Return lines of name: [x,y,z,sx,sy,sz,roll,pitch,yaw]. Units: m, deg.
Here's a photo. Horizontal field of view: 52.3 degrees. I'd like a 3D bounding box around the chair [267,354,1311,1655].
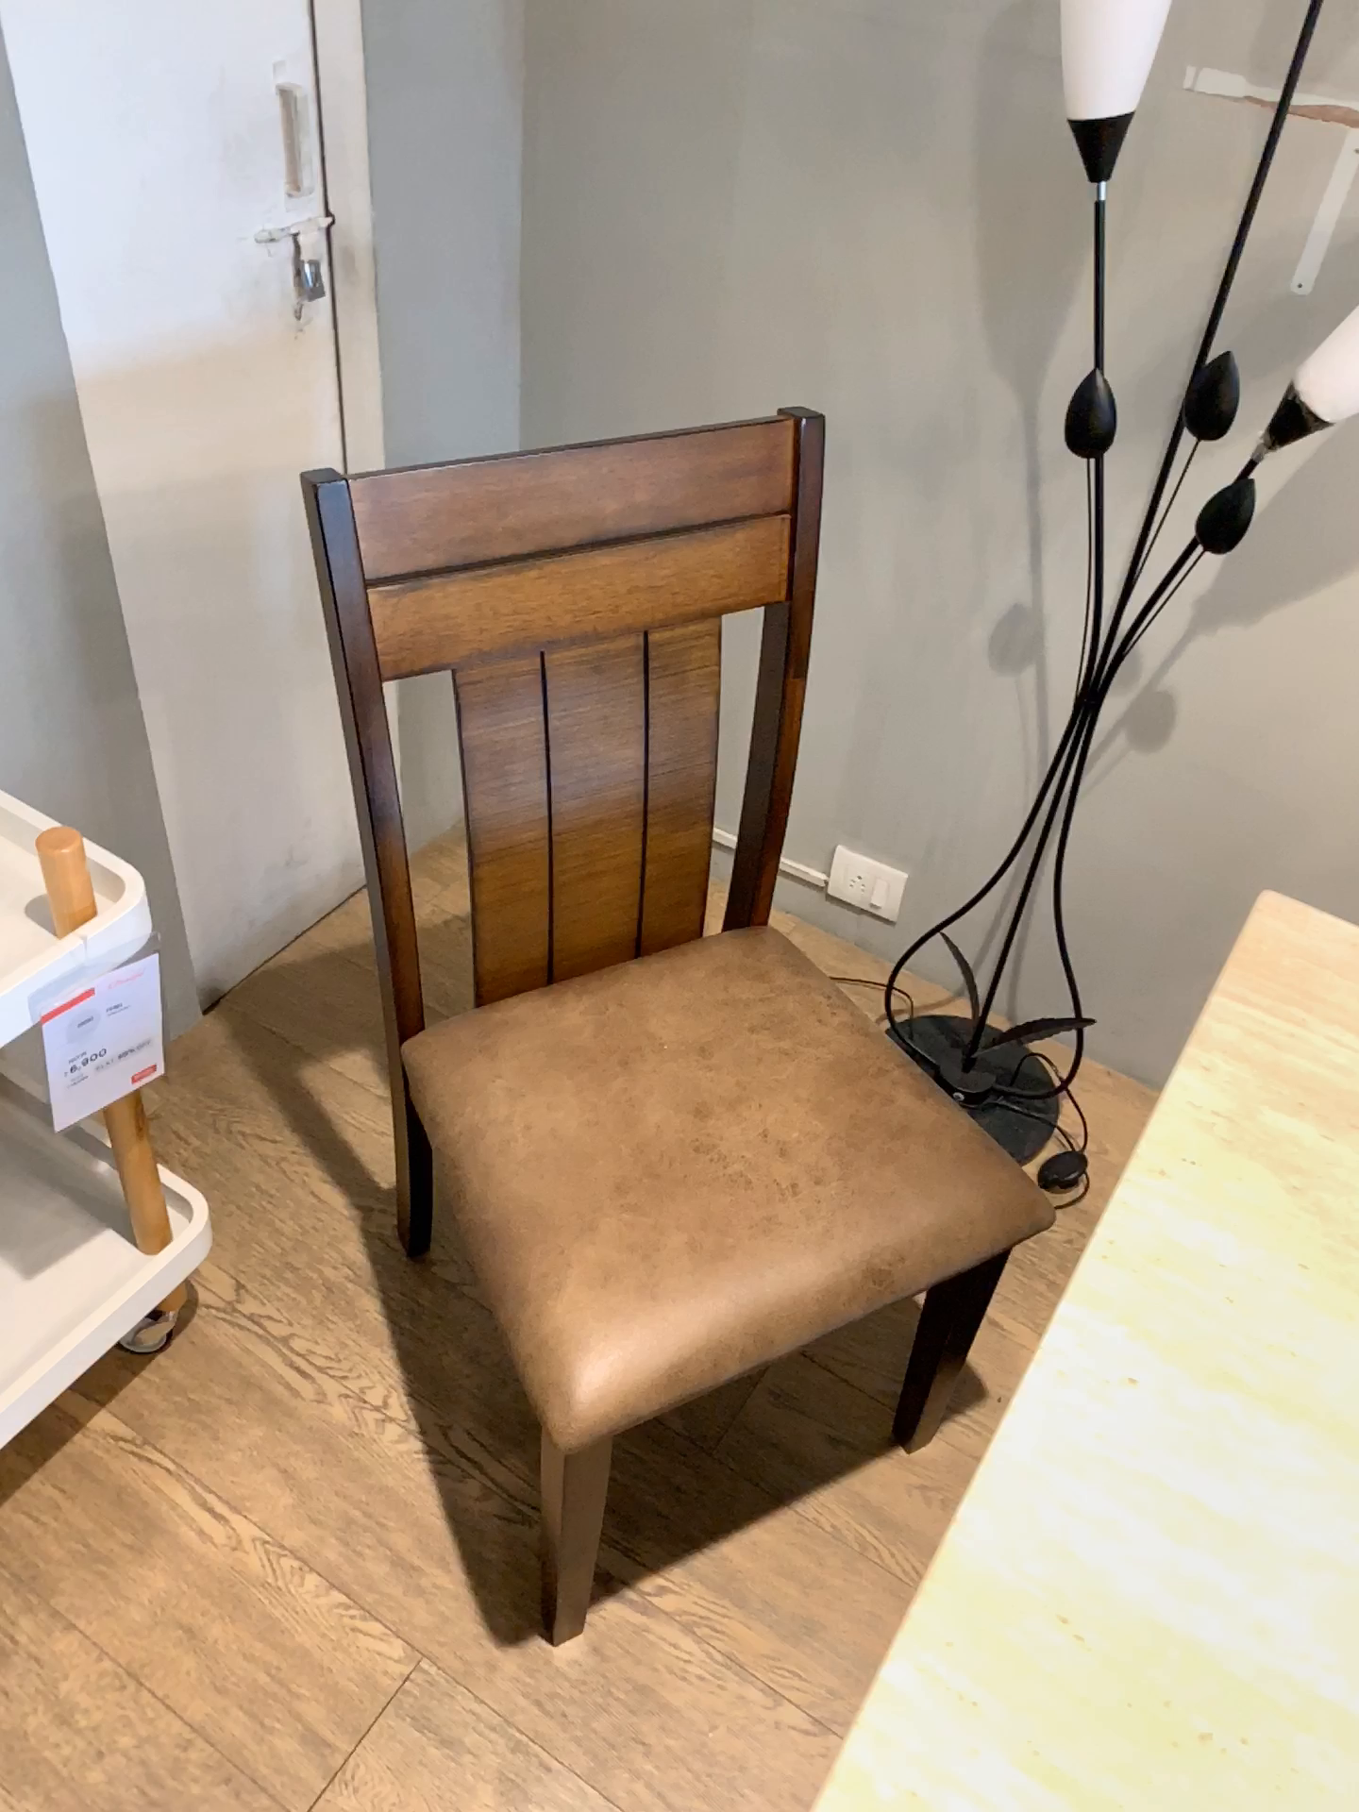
chair: [0.006,0.116,1.286,0.511,0.996,0.552,-17,47,-25]
